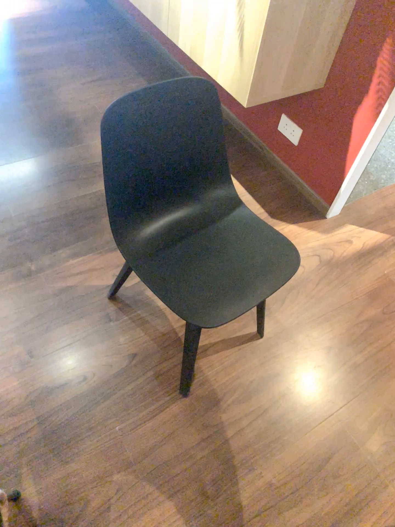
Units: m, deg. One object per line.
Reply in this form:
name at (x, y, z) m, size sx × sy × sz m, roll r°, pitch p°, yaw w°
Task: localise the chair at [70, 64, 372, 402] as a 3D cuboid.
chair at (0.006, -0.058, 1.177) m, size 0.441 × 0.718 × 0.531 m, roll -30°, pitch 62°, yaw -27°
